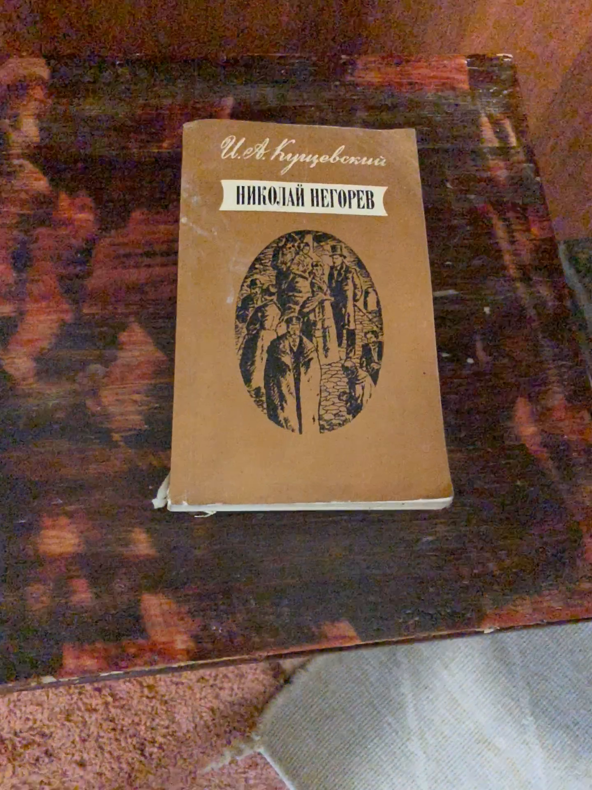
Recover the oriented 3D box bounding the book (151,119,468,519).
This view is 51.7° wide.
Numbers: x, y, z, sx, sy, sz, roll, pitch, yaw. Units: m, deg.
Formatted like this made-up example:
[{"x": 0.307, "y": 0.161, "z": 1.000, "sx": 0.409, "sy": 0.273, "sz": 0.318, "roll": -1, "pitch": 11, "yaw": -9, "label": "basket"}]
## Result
[{"x": 0.003, "y": -0.041, "z": 0.288, "sx": 0.130, "sy": 0.024, "sz": 0.190, "roll": -1, "pitch": 74, "yaw": -4, "label": "book"}]
